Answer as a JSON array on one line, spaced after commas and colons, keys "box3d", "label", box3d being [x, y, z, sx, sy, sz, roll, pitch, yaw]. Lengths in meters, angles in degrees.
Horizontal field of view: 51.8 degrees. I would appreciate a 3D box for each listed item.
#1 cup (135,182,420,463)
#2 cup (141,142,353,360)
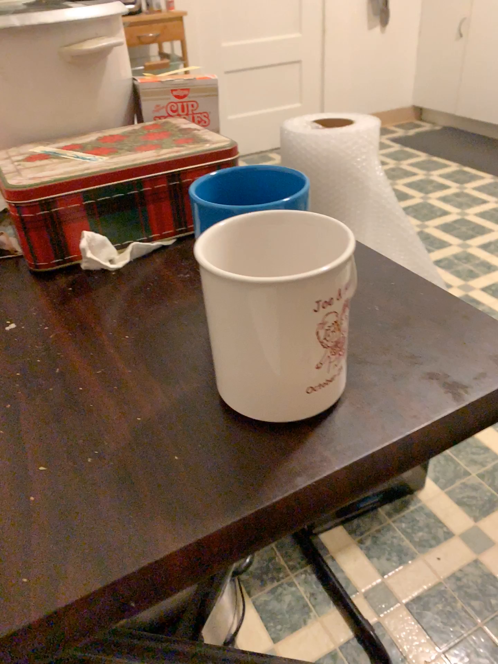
[{"box3d": [0.020, -0.015, 0.290, 0.090, 0.089, 0.120, 26, 45, 37], "label": "cup"}, {"box3d": [0.008, -0.069, 0.385, 0.090, 0.099, 0.140, 15, 39, 26], "label": "cup"}]
